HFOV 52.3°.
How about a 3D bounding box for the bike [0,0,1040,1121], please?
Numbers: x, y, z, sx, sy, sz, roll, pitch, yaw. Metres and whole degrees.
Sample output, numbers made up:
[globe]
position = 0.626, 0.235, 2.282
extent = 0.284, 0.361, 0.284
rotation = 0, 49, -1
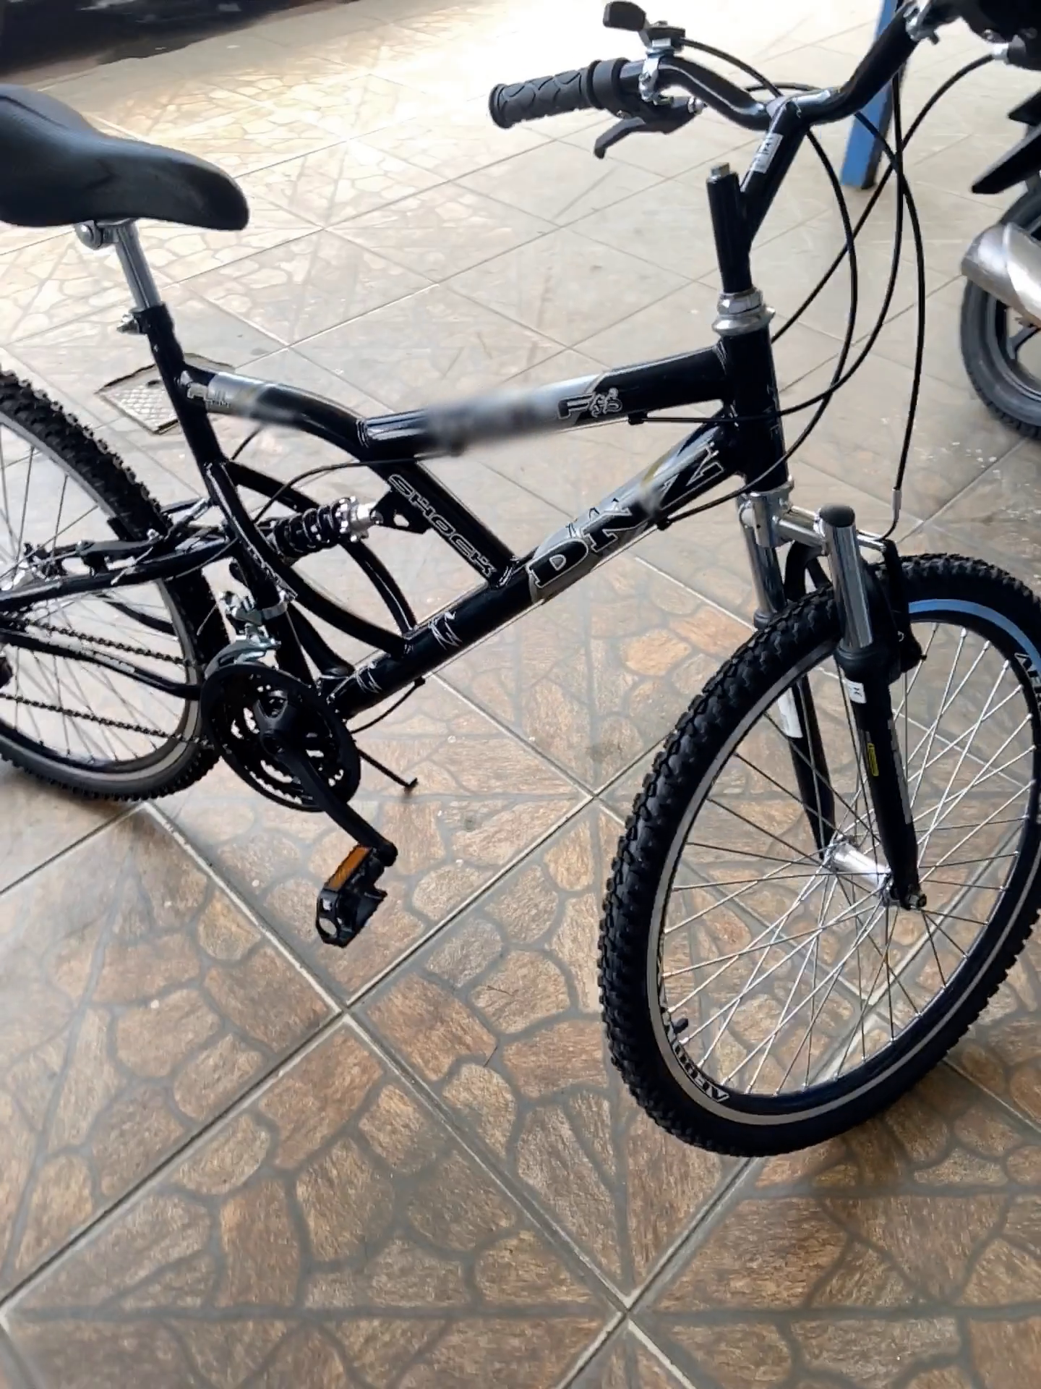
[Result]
[bike]
position = -0.186, -0.249, 1.074
extent = 1.584, 1.154, 0.606
rotation = 9, 48, 12
